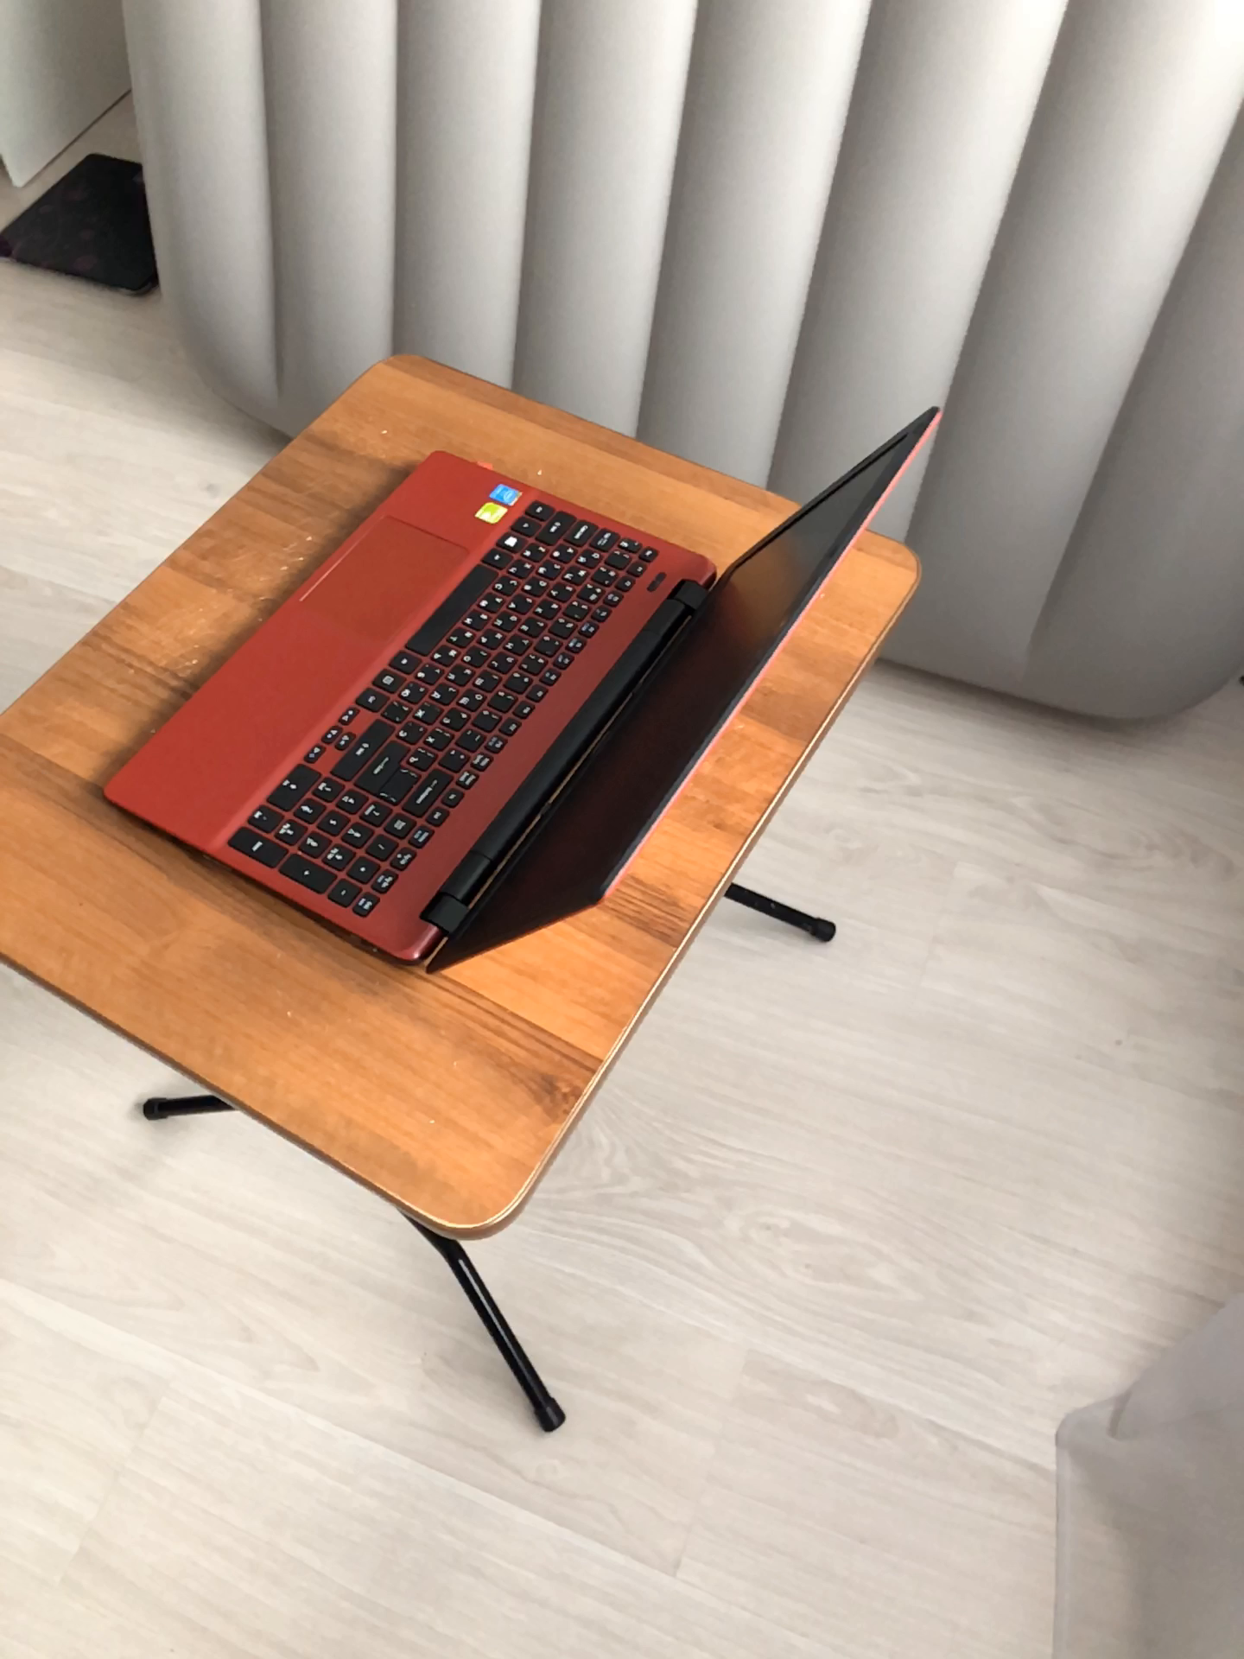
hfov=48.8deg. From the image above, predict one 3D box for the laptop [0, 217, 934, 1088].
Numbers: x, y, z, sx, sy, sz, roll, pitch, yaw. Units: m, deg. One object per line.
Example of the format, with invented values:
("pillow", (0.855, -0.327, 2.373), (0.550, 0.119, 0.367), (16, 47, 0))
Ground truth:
("laptop", (-0.080, -0.128, 0.819), (0.381, 0.191, 0.372), (27, 60, 18))
